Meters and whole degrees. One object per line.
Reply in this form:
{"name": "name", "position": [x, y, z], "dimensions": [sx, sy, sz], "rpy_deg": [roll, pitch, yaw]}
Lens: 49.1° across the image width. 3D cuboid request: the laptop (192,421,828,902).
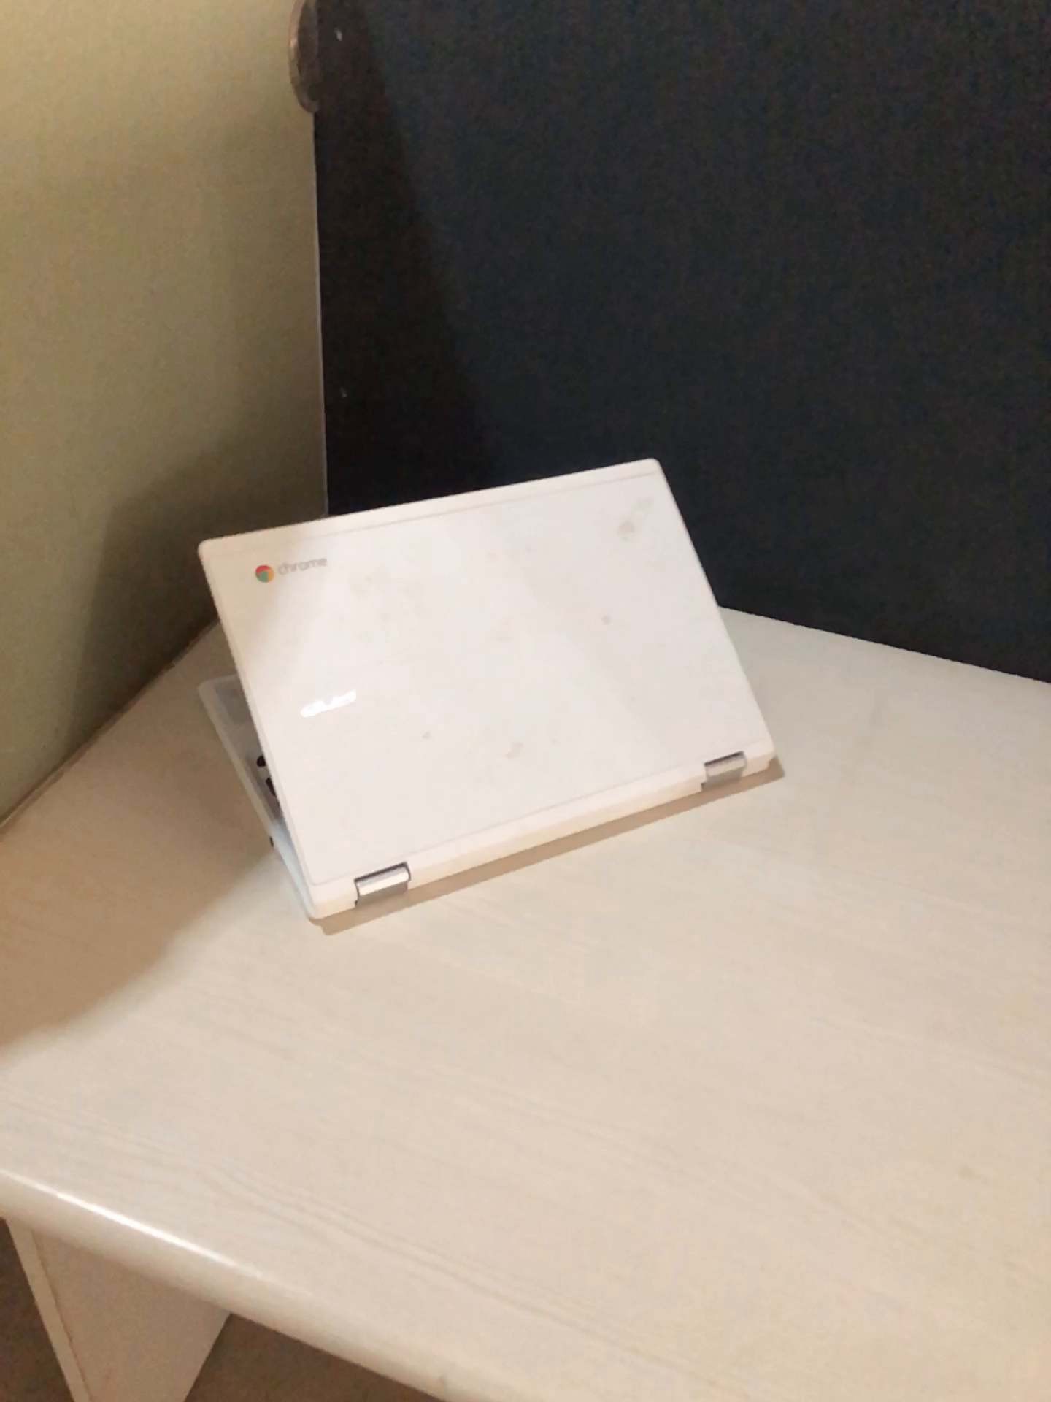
{"name": "laptop", "position": [-0.013, -0.040, 0.645], "dimensions": [0.285, 0.114, 0.188], "rpy_deg": [-16, 44, -25]}
